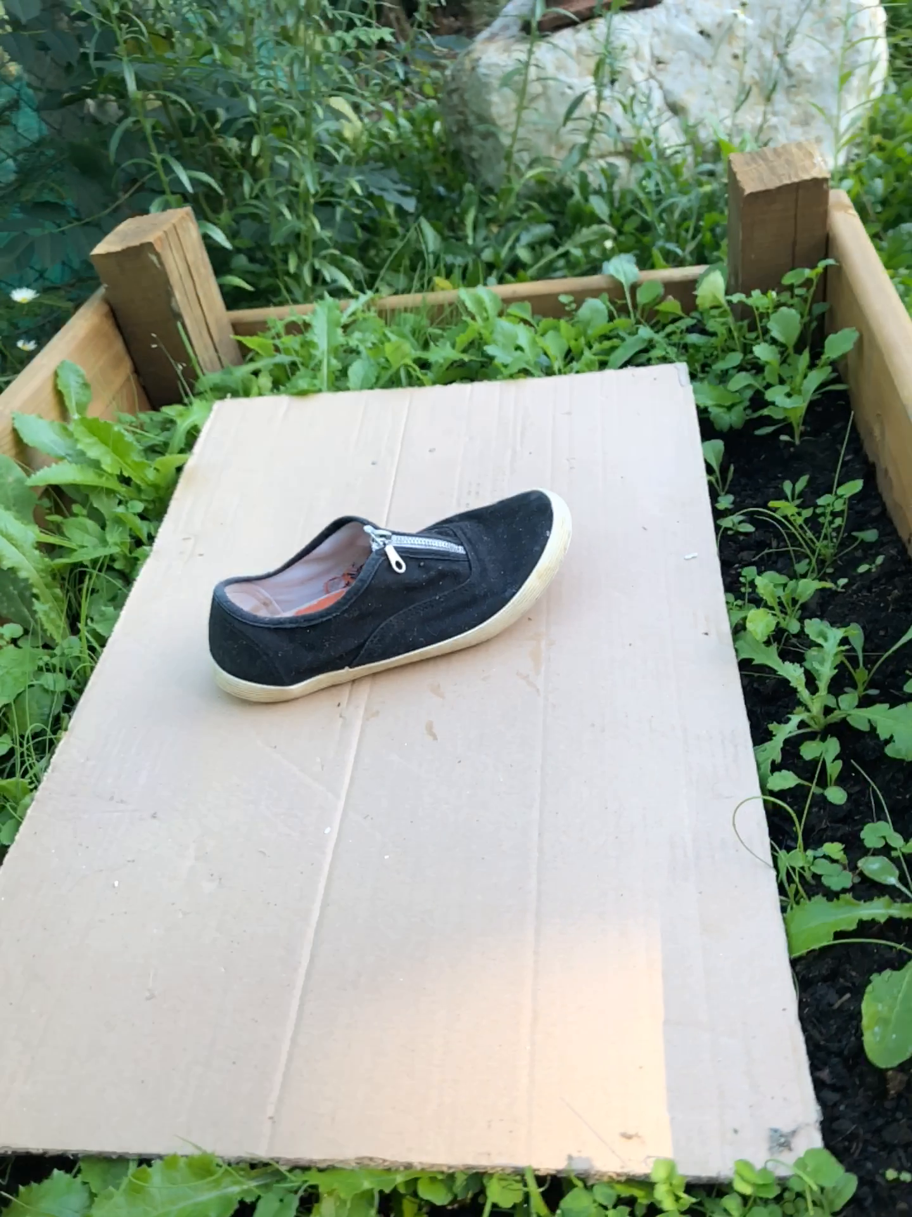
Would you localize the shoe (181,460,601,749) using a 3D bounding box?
[{"bbox_3d":[-0.040,-0.008,0.640,0.240,0.070,0.100,-18,41,-12],"label":"shoe"}]
